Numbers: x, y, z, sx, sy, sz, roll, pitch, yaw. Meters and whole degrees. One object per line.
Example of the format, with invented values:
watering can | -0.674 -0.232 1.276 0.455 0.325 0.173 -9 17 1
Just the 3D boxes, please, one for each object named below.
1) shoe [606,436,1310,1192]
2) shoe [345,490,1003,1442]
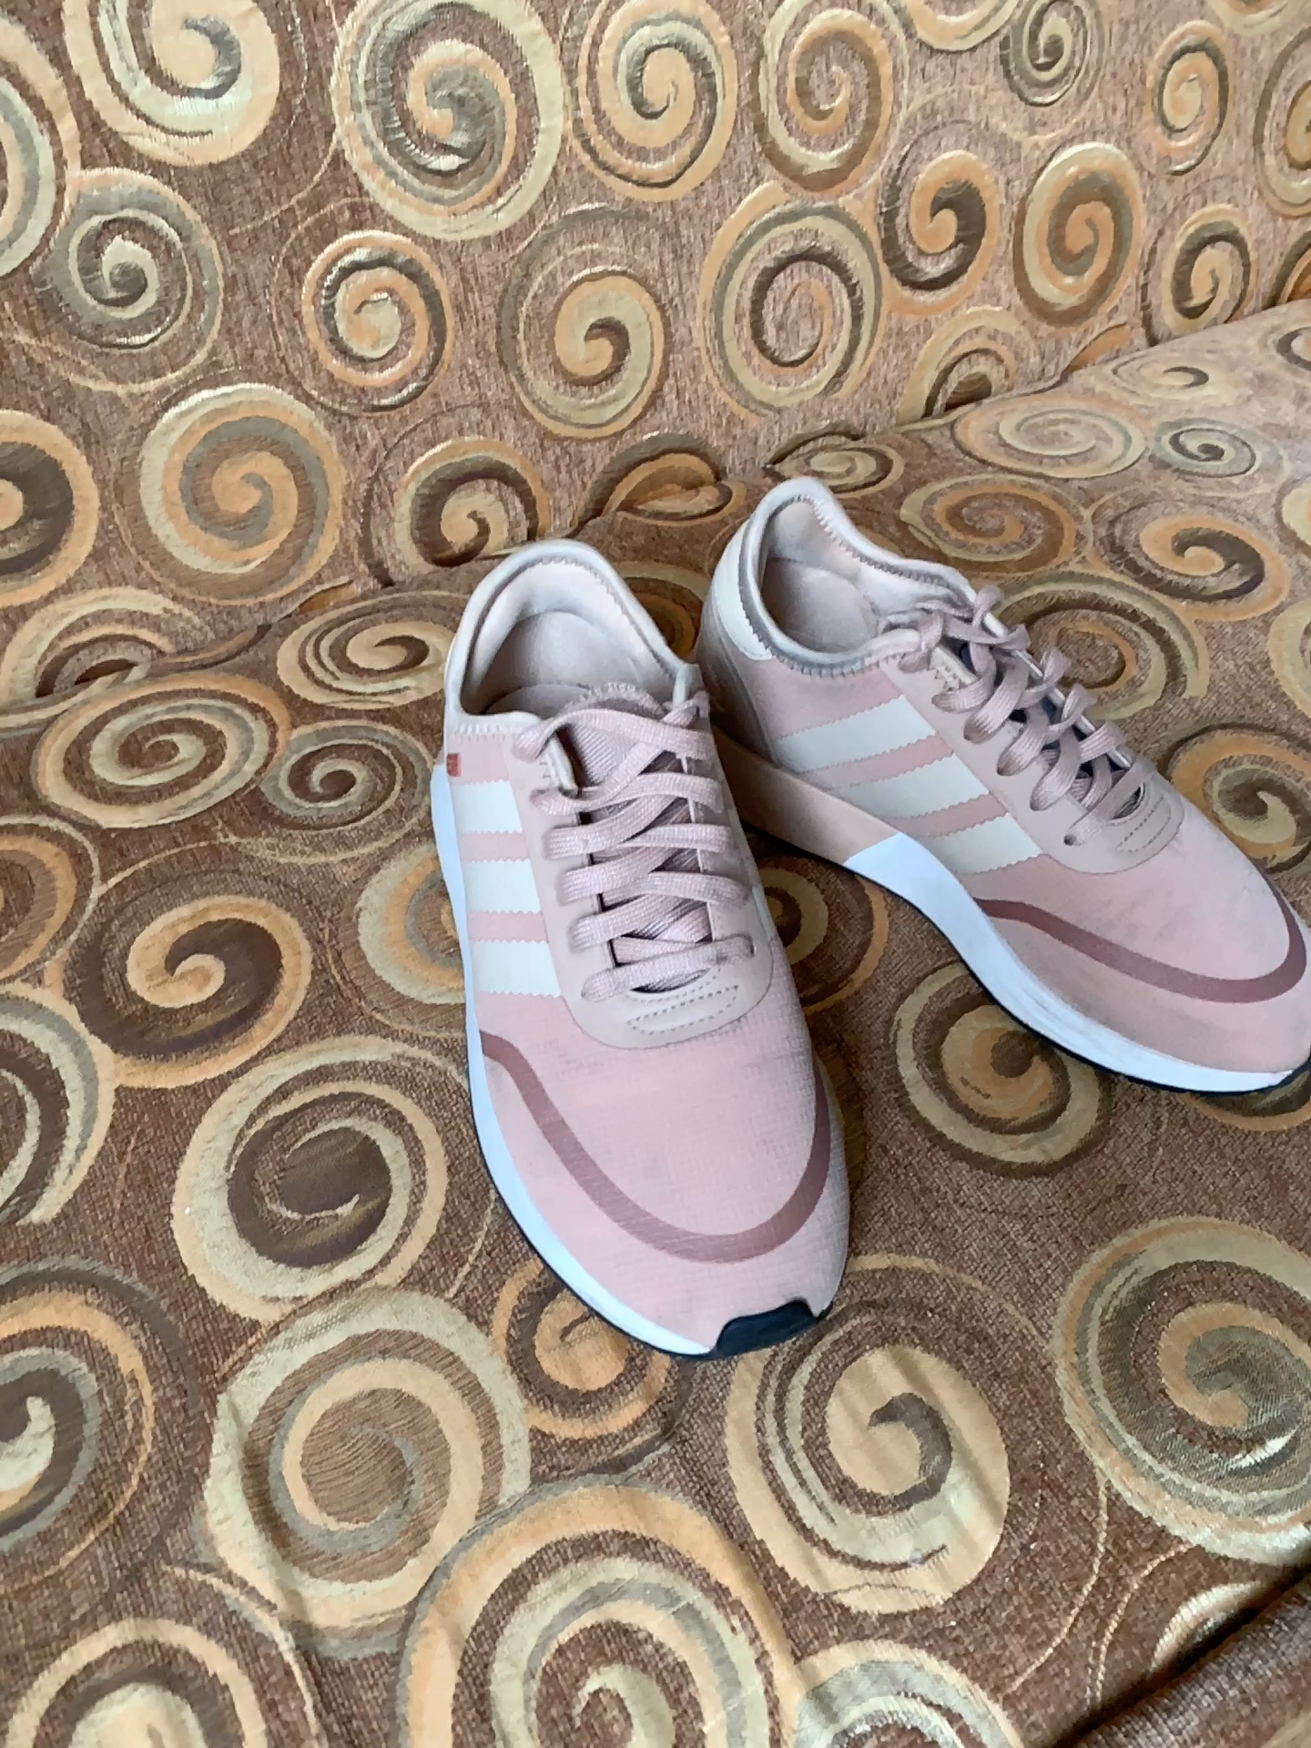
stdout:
shoe | 0.110 -0.029 0.436 0.250 0.090 0.100 36 59 22
shoe | -0.012 0.010 0.388 0.100 0.090 0.251 -13 54 -12
